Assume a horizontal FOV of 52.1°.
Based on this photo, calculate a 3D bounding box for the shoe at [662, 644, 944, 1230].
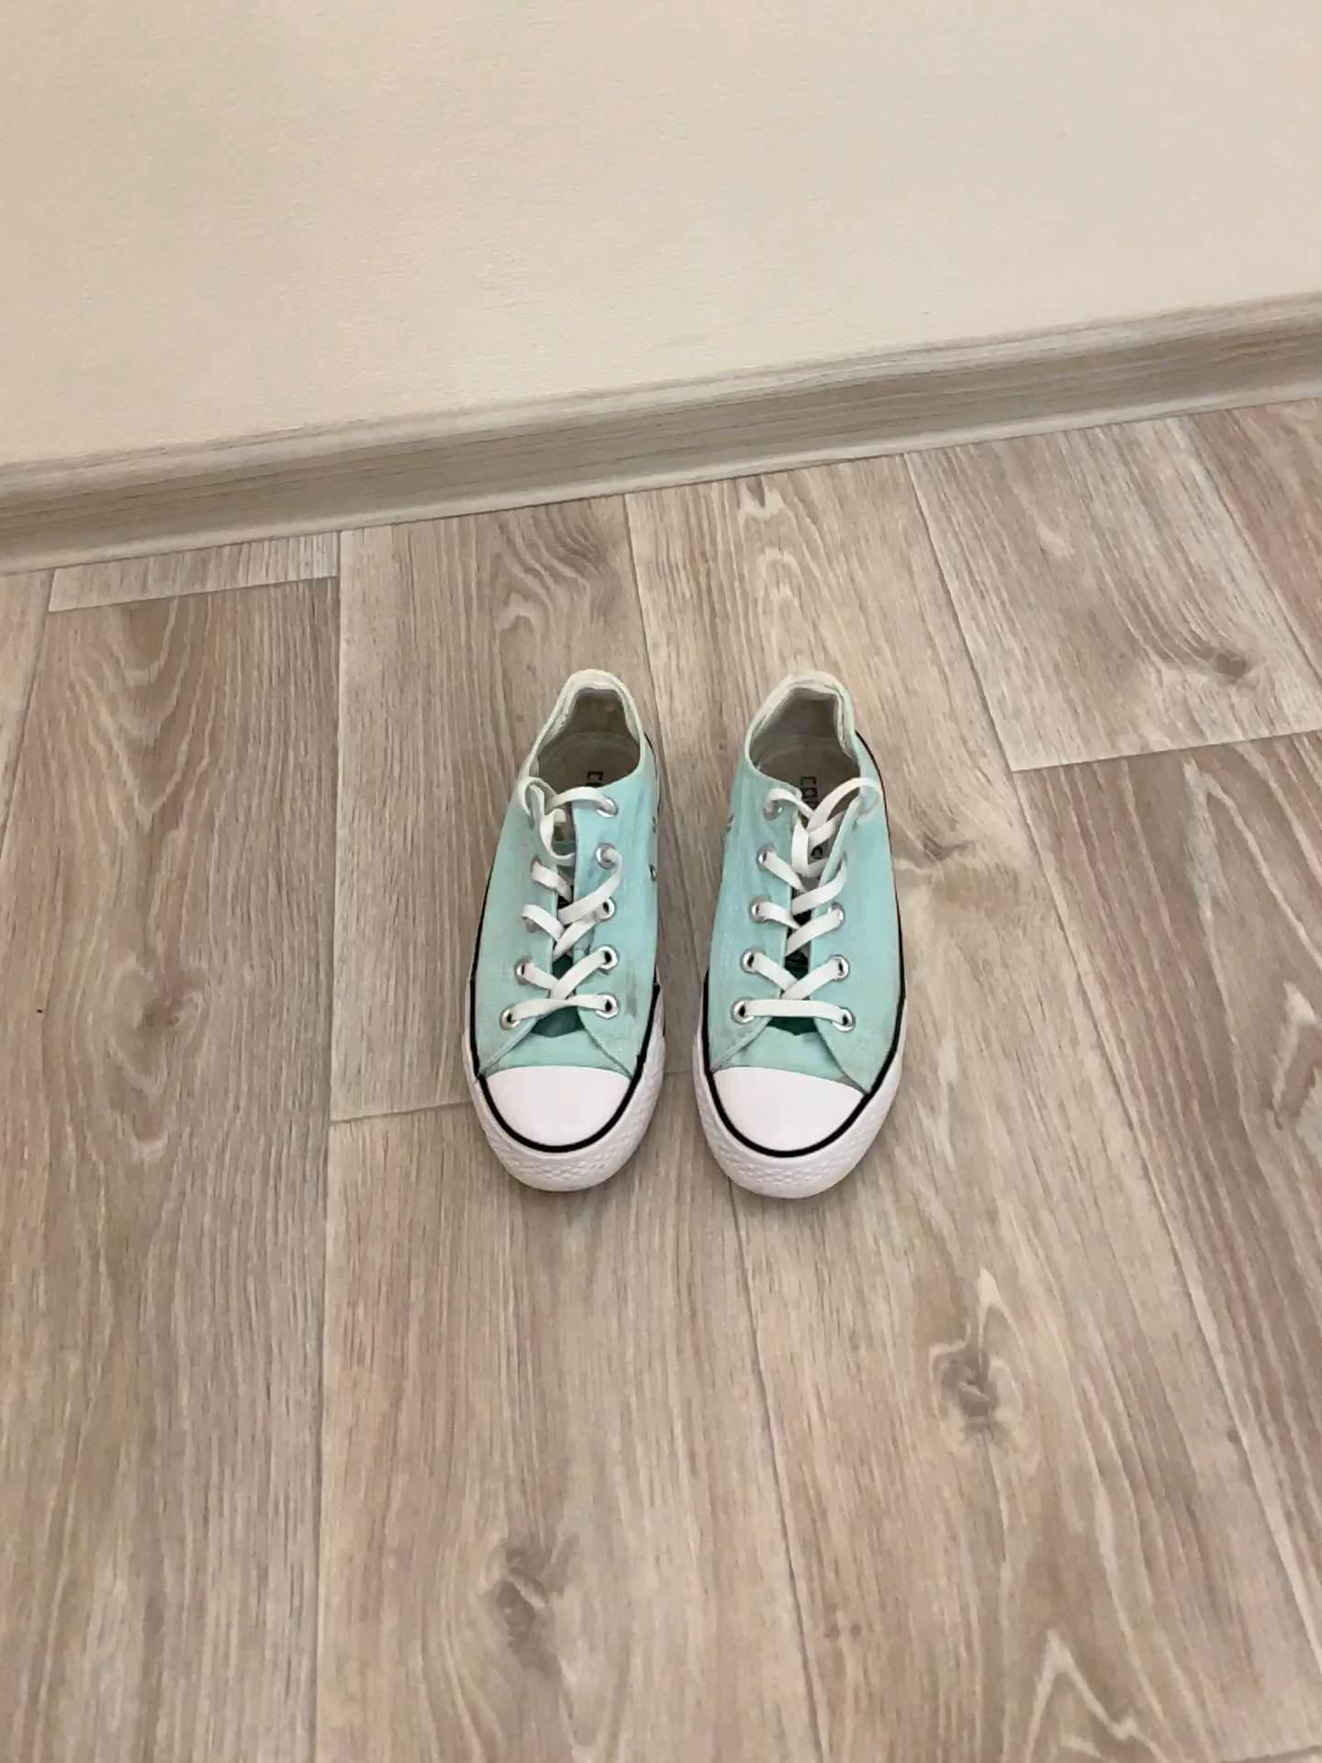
[{"bbox_3d":[0.065,0.013,0.577,0.100,0.060,0.251,3,56,6],"label":"shoe"}]

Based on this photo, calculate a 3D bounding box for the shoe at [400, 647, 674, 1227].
[{"bbox_3d":[-0.043,0.014,0.575,0.092,0.060,0.251,-1,55,3],"label":"shoe"}]
